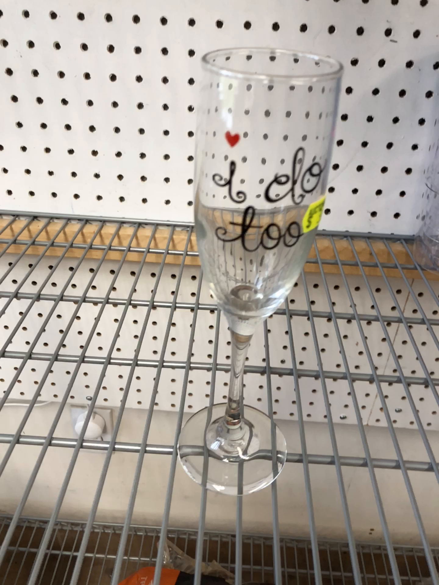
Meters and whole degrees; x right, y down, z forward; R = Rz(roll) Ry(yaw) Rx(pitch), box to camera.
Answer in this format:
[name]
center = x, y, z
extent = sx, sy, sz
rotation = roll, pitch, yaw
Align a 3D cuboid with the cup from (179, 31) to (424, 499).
[cup]
center = 0.017, 0.001, 0.228
extent = 0.070, 0.209, 0.070
rotation = 2, 34, -2
